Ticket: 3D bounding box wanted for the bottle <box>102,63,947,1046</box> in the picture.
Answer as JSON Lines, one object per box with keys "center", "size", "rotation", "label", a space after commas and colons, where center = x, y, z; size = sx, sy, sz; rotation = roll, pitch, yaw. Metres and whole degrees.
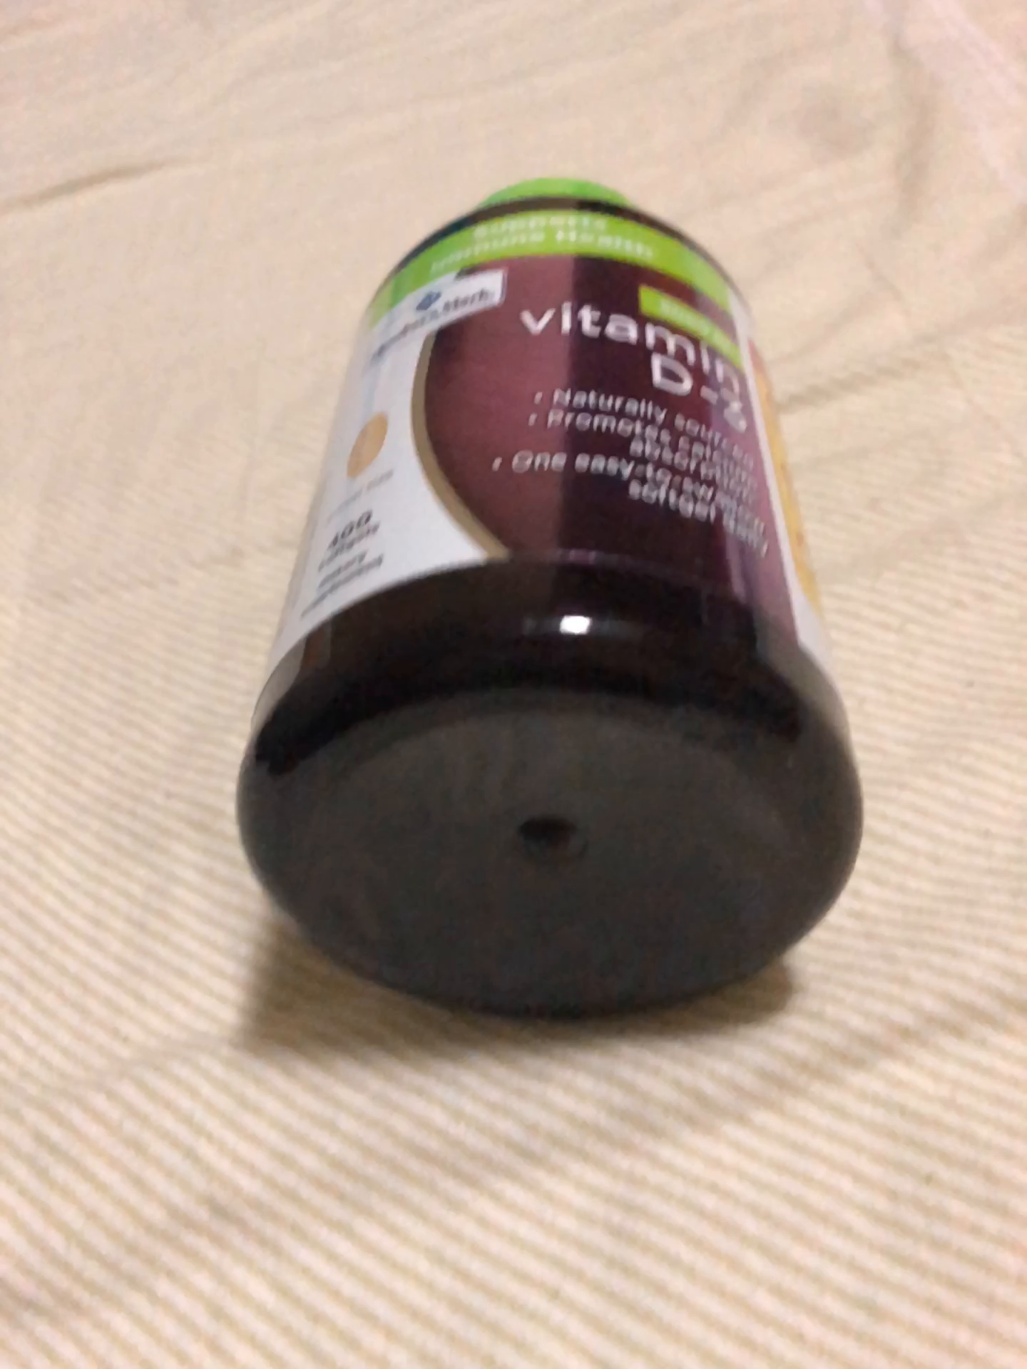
{"center": [0.003, -0.022, 0.143], "size": [0.060, 0.060, 0.110], "rotation": [-2, 46, 3], "label": "bottle"}
